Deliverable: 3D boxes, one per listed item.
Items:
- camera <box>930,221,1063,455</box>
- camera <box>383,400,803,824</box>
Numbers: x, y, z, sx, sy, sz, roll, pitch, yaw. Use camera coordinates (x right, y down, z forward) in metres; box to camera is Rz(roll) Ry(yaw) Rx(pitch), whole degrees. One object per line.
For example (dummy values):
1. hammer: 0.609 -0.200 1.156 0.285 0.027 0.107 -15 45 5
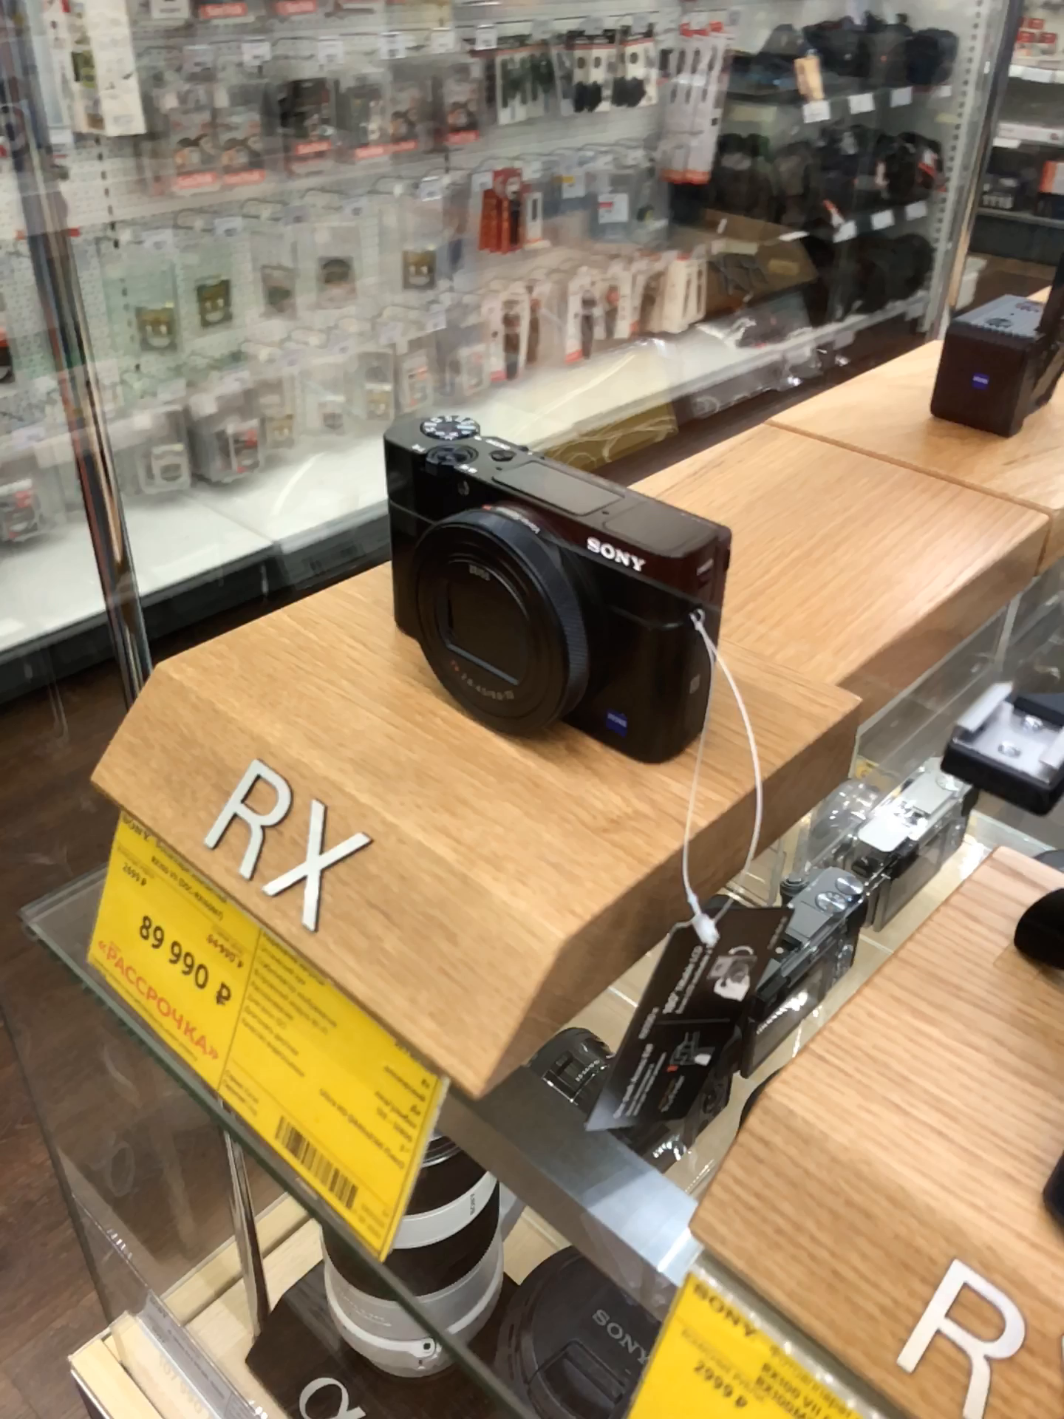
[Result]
1. camera: 0.191 -0.144 0.451 0.040 0.070 0.052 27 42 33
2. camera: 0.011 -0.029 0.304 0.100 0.070 0.040 28 43 34
